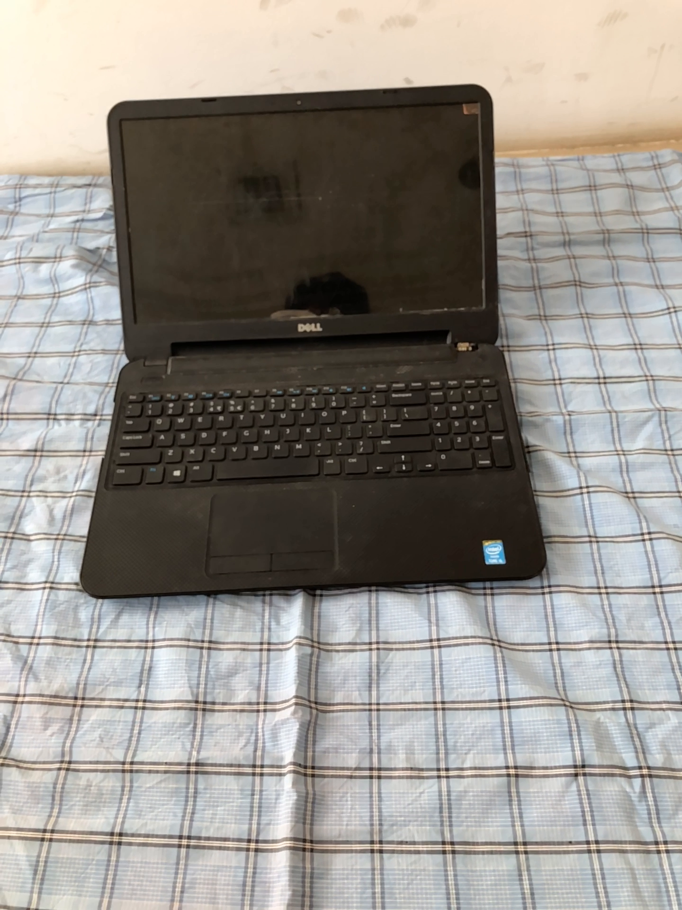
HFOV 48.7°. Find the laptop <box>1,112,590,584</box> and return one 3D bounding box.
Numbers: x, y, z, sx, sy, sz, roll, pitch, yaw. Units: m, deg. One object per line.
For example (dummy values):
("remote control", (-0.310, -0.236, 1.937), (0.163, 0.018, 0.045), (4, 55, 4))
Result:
("laptop", (-0.031, -0.115, 0.652), (0.355, 0.163, 0.415), (-2, 51, -1))
